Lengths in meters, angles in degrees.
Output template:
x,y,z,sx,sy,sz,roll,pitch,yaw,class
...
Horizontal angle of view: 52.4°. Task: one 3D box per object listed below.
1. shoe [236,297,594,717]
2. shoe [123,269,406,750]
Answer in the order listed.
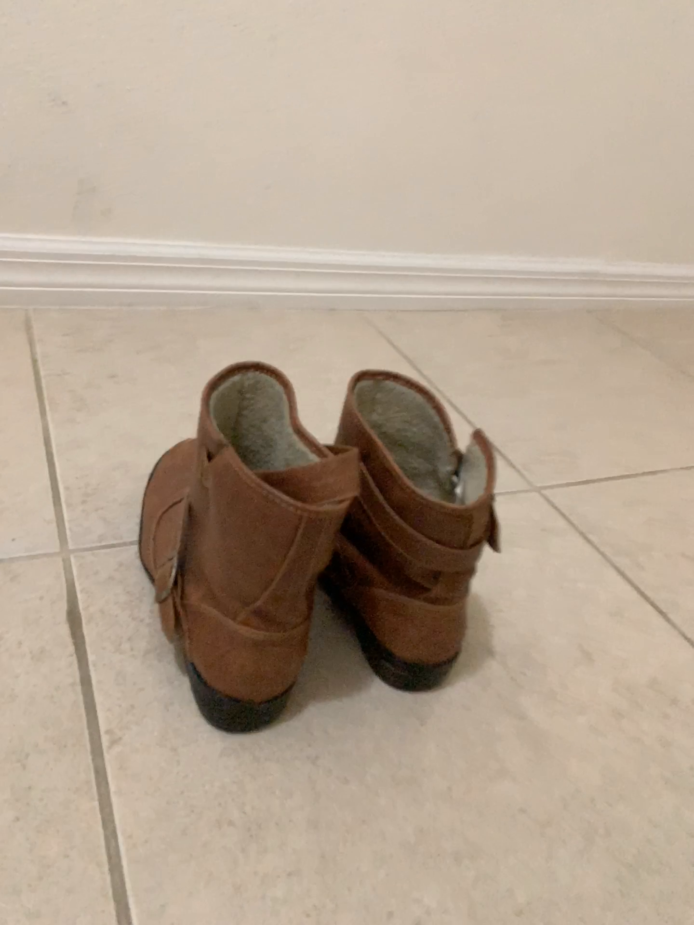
x,y,z,sx,sy,sz,roll,pitch,yaw,class
0.022,0.011,0.519,0.107,0.172,0.261,-7,37,-28,shoe
-0.079,0.013,0.465,0.094,0.192,0.248,-4,36,-25,shoe
